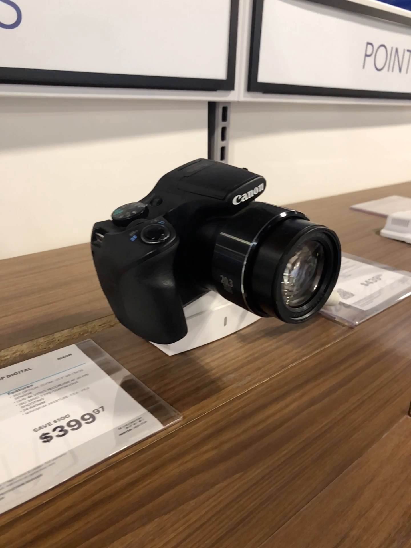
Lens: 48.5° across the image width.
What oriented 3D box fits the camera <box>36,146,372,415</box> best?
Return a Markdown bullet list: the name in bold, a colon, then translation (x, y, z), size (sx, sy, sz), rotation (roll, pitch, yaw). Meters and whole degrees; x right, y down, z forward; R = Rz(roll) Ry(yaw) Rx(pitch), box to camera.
- **camera**: translation (0.001, -0.015, 0.273), size (0.131, 0.069, 0.140), rotation (-34, 38, -32)
